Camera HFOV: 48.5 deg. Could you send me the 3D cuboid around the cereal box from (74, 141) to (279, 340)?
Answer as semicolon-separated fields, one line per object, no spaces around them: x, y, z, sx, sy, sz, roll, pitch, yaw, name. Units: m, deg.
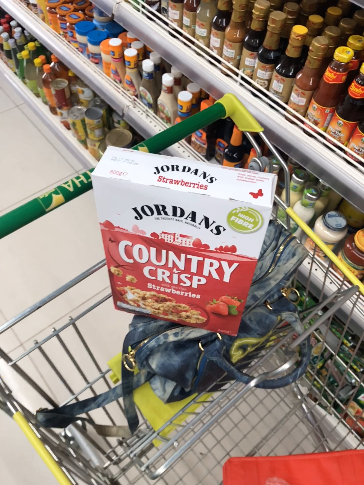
-0.009;0.014;0.489;0.190;0.250;0.060;11;51;6;cereal box
